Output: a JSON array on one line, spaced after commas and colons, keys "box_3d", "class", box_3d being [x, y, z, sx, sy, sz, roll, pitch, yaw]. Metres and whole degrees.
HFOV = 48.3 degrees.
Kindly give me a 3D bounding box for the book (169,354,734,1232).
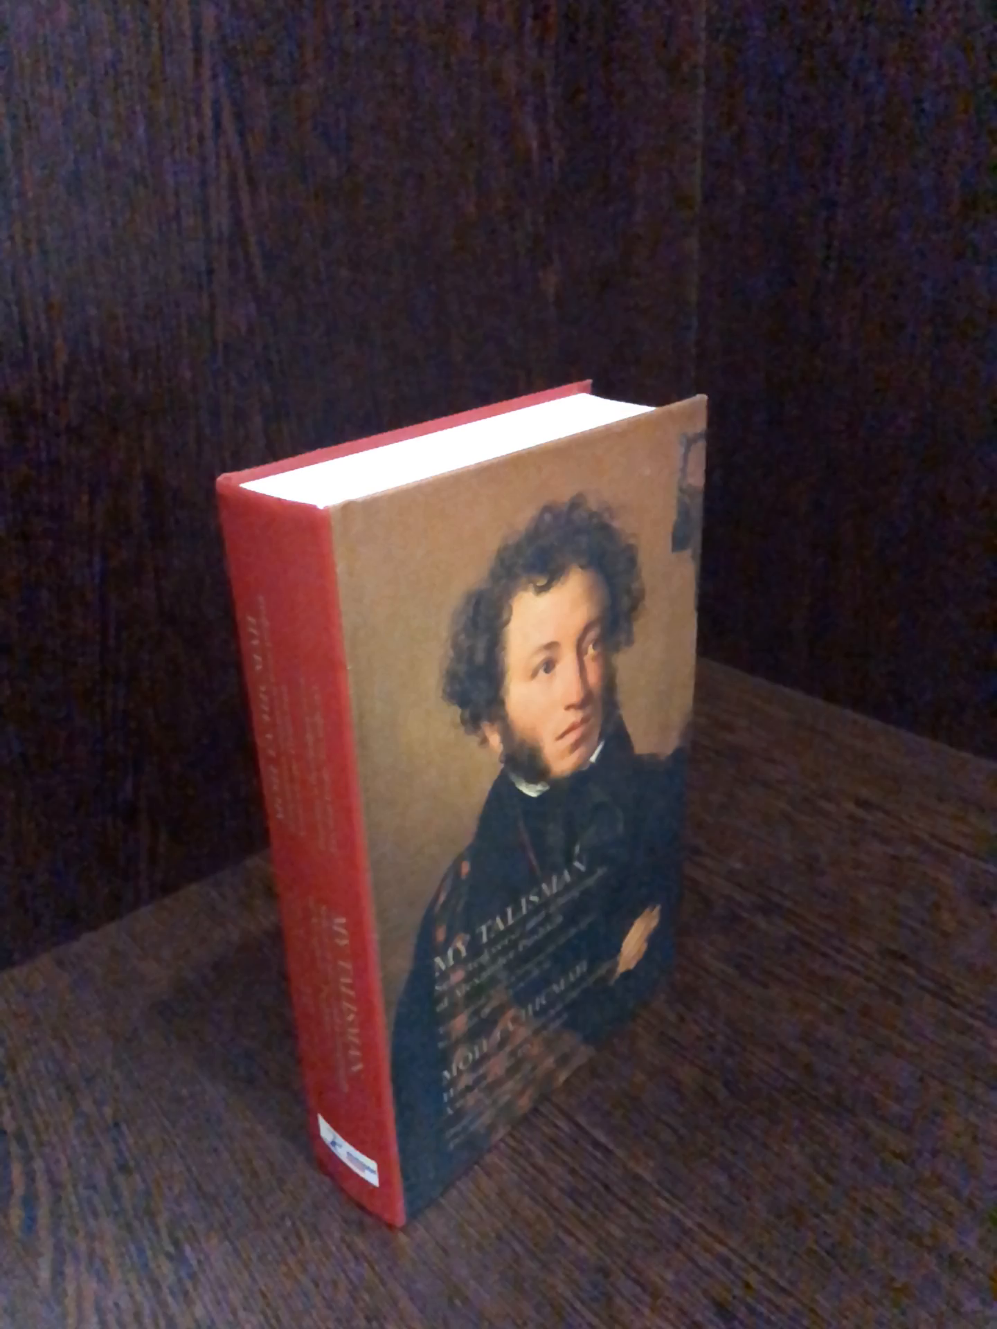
[{"box_3d": [-0.003, 0.029, 0.311, 0.054, 0.201, 0.137, 22, 34, 39], "class": "book"}]
